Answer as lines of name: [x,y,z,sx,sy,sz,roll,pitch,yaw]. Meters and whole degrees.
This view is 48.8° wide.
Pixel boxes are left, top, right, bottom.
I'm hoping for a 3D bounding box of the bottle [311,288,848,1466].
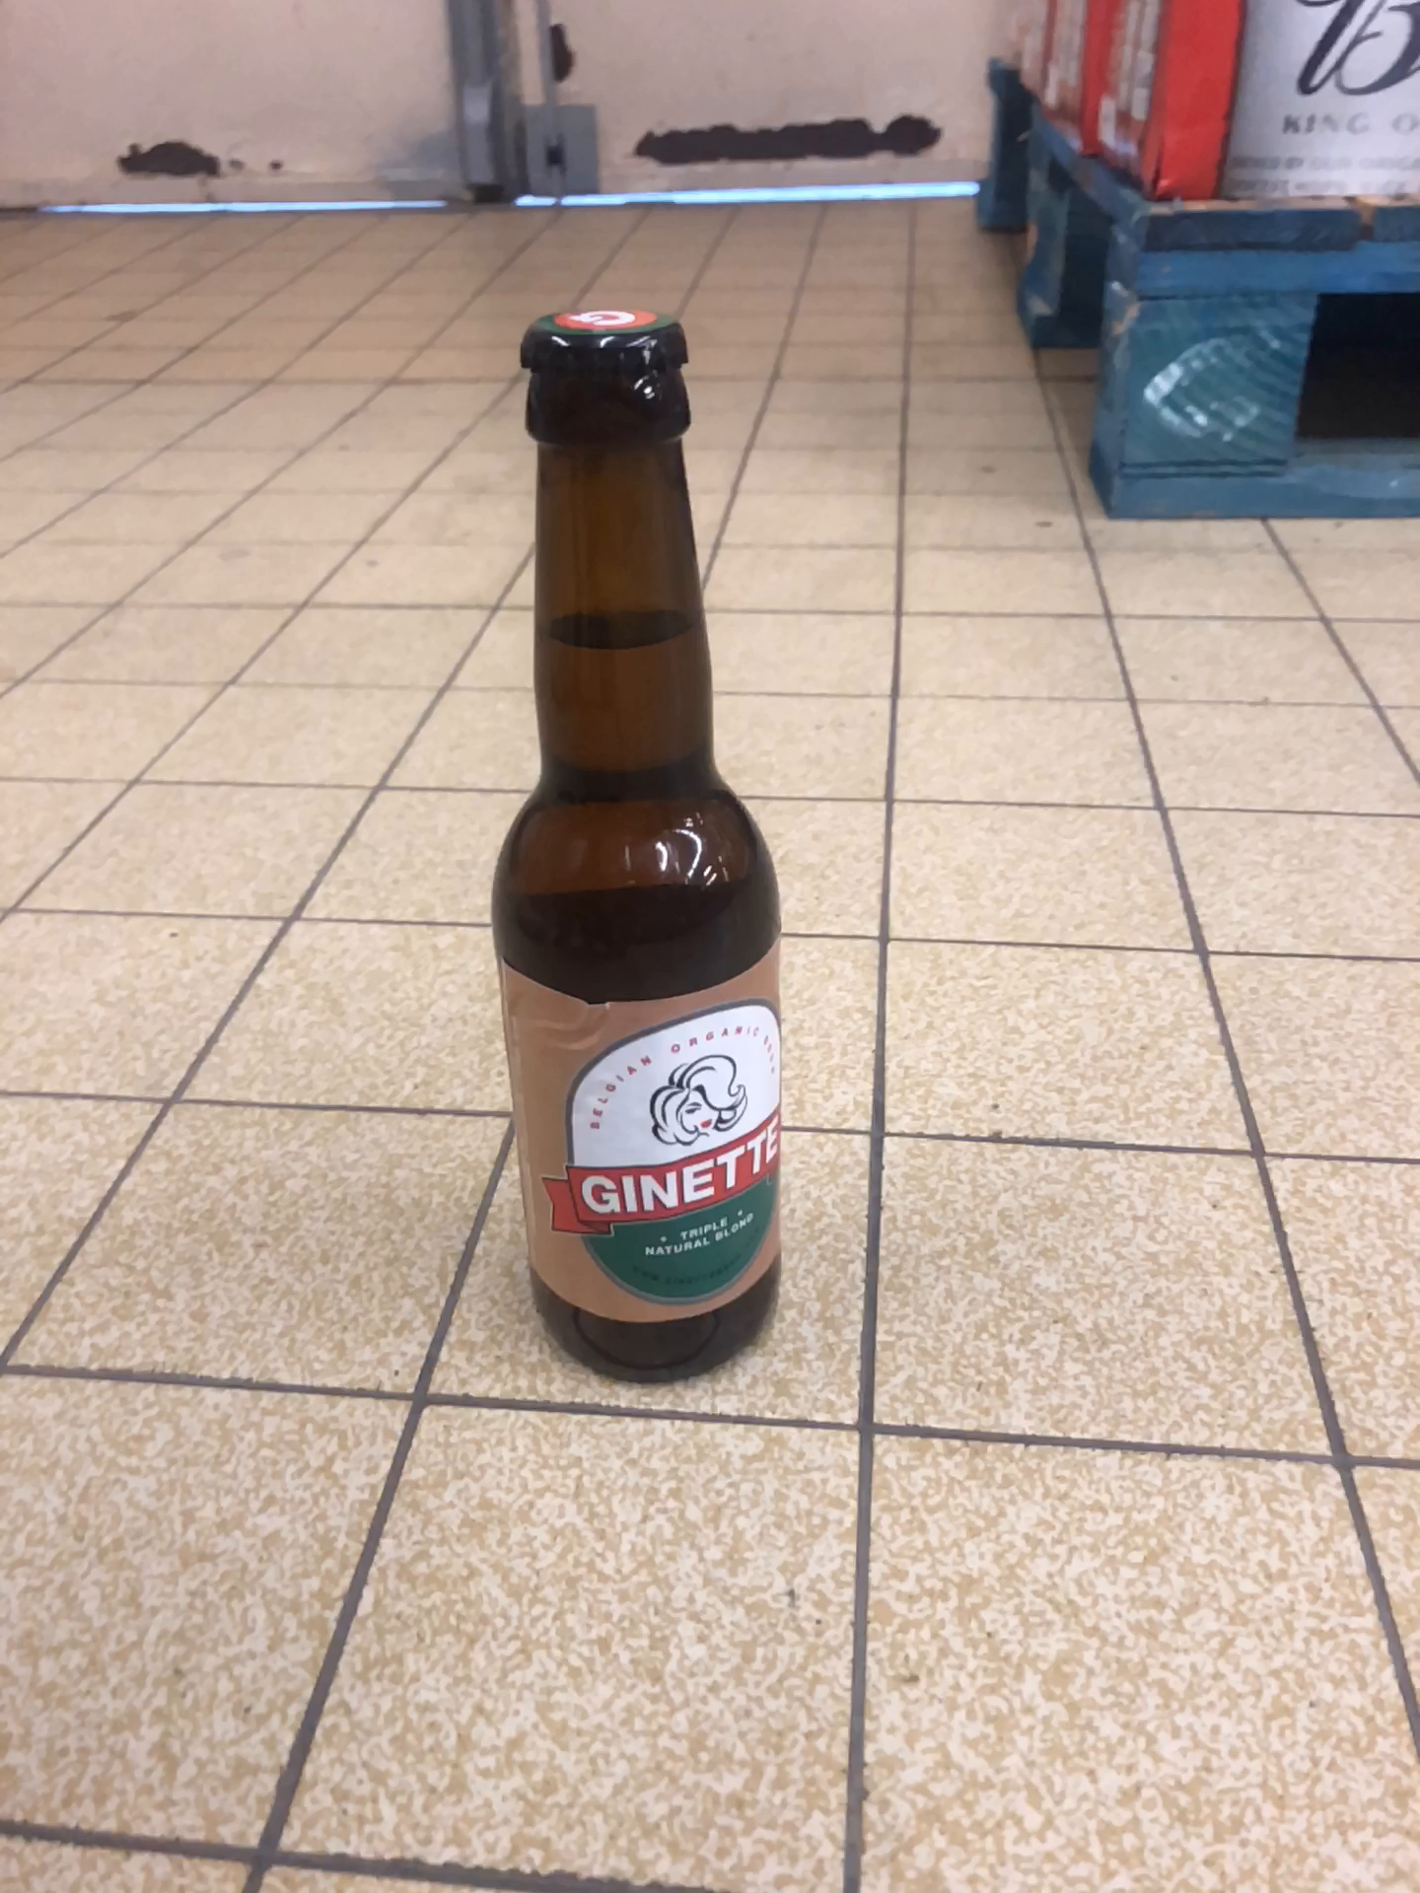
bottle: [-0.021,-0.008,0.316,0.070,0.219,0.070,-1,31,1]
